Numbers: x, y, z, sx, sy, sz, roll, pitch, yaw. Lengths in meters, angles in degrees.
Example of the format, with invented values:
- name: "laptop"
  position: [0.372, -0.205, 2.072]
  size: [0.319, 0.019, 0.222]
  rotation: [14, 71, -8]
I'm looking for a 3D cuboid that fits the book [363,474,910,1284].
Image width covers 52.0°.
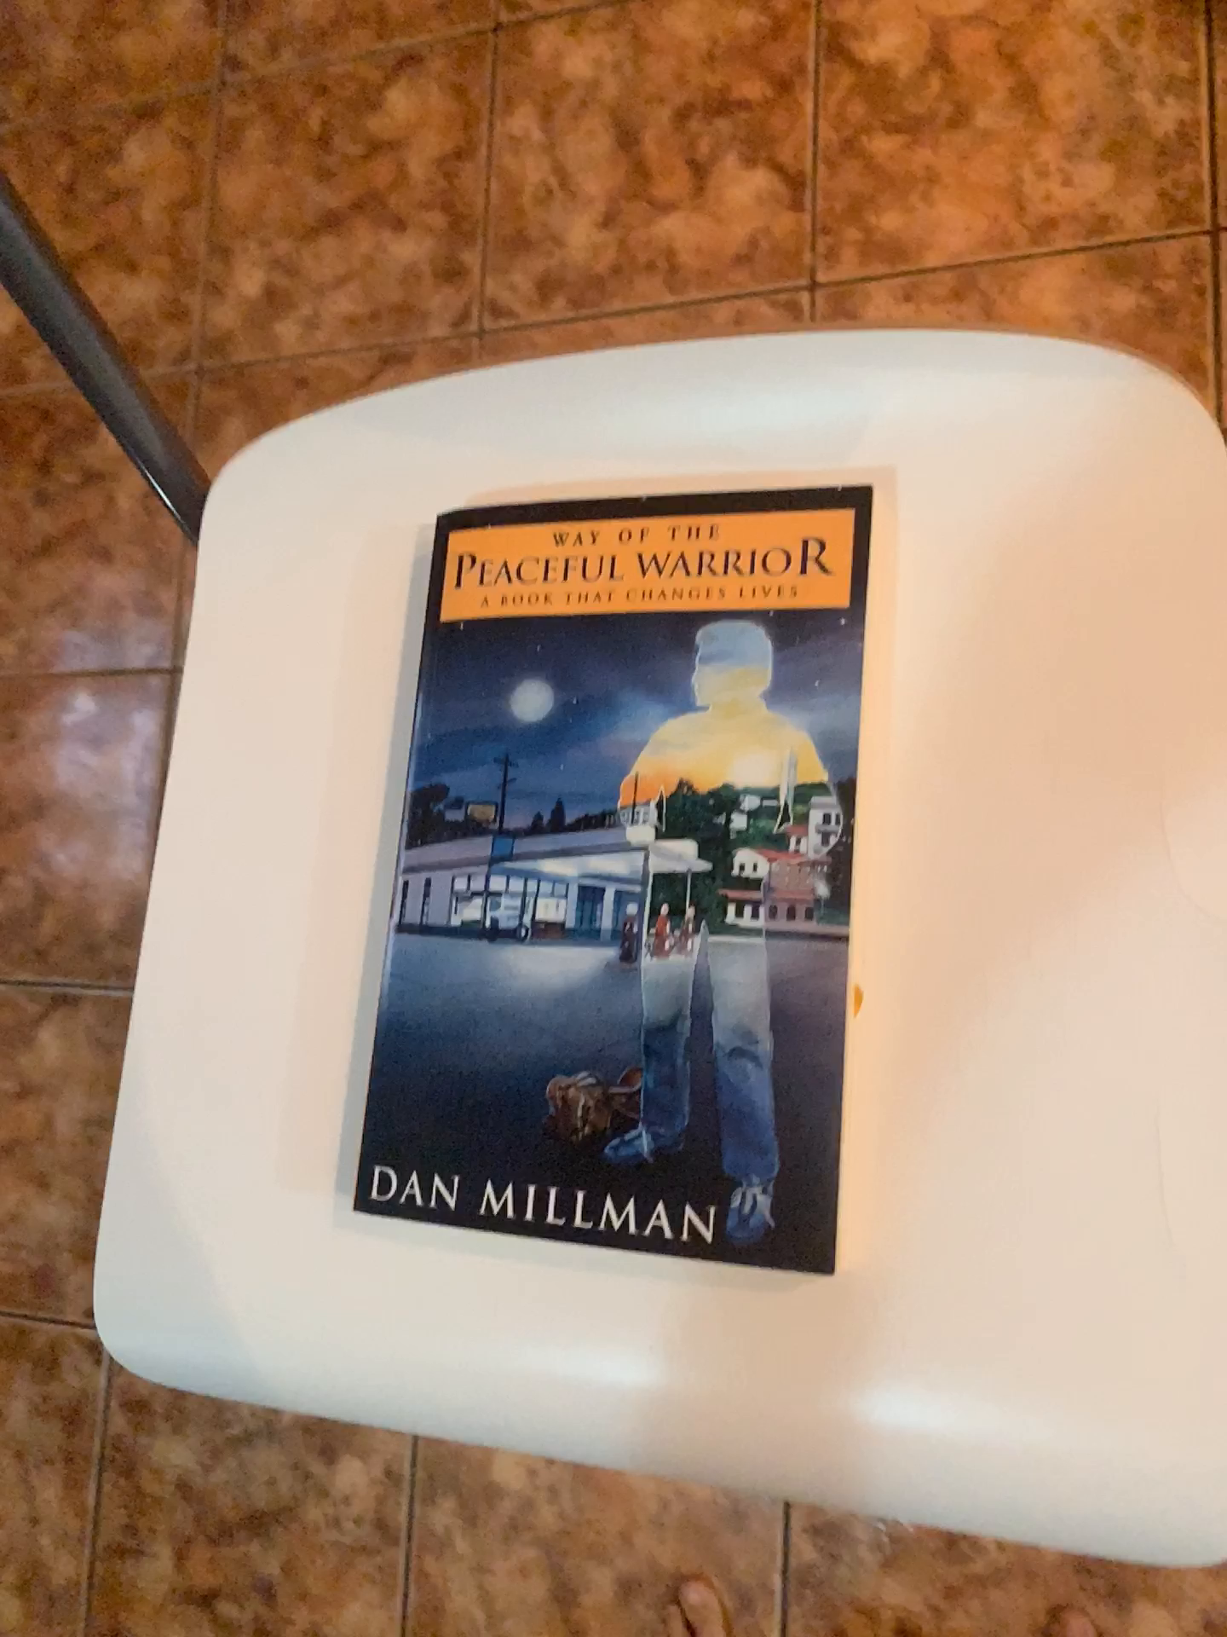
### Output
- name: "book"
  position: [0.008, 0.012, 0.368]
  size: [0.141, 0.039, 0.210]
  rotation: [2, 82, 20]
